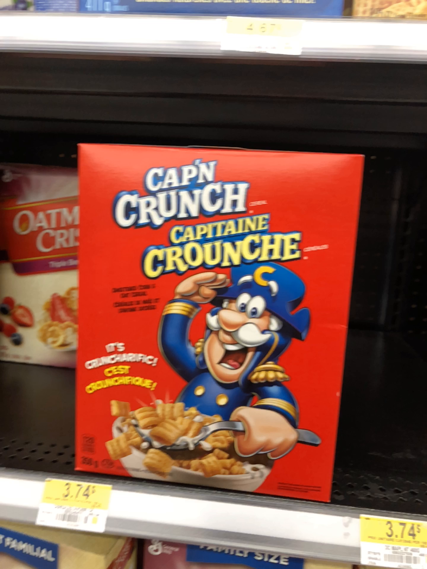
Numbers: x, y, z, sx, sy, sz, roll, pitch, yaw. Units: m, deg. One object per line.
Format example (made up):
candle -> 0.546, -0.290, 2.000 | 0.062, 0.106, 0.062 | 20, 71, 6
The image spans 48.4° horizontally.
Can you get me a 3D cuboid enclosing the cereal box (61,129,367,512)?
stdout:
cereal box -> -0.007, 0.026, 0.390 | 0.220, 0.279, 0.060 | 4, 10, 7
